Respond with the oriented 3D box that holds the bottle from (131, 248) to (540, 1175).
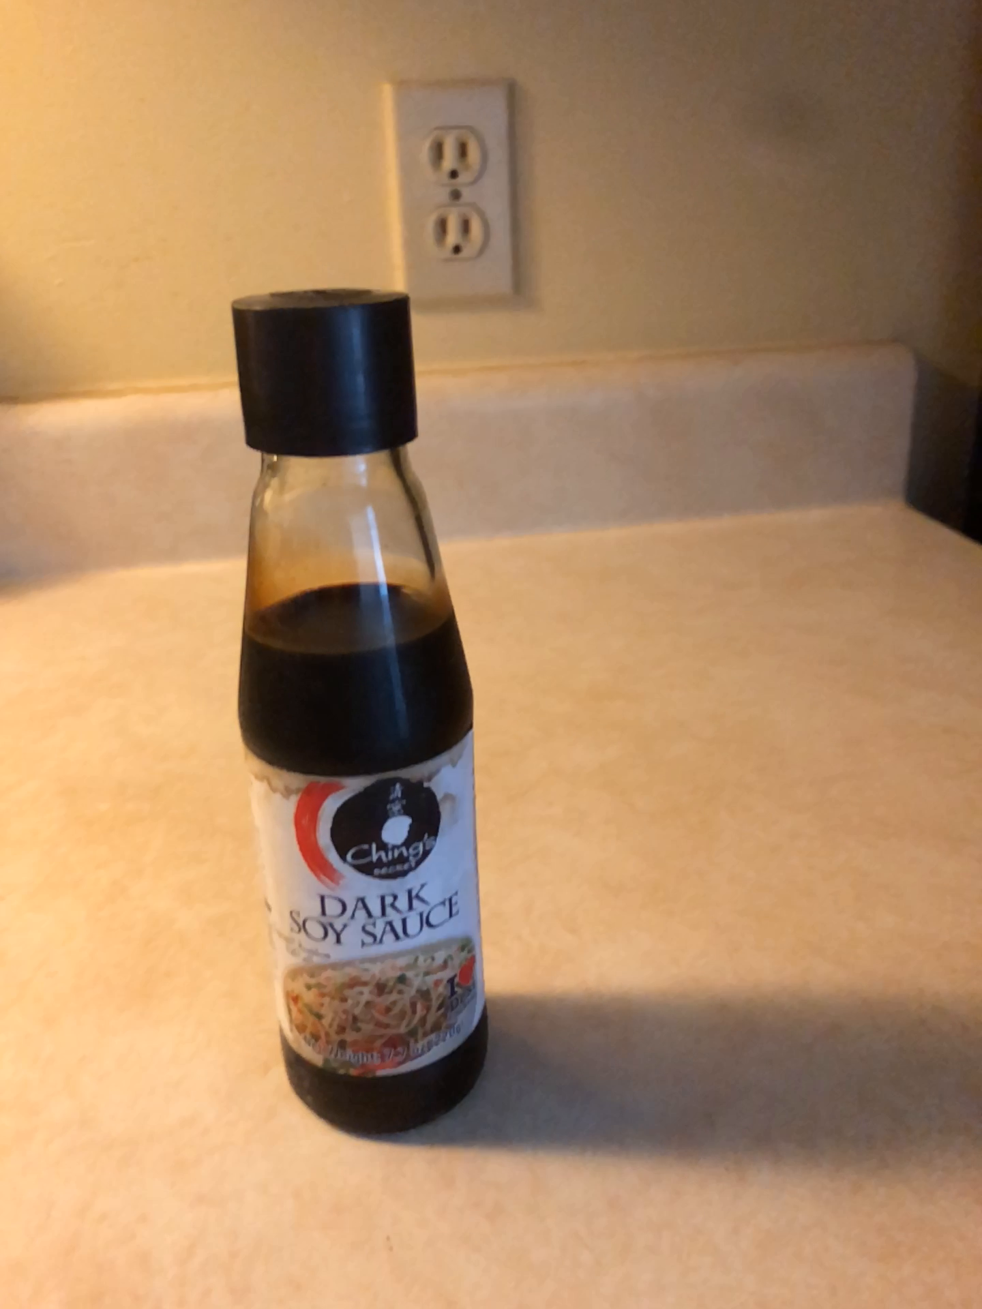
[{"bbox_3d":[-0.030,0.012,0.232,0.060,0.180,0.060,-2,22,1],"label":"bottle"}]
